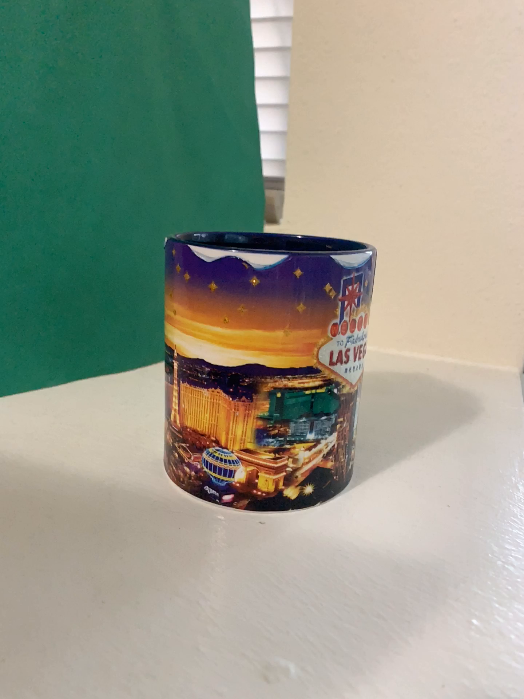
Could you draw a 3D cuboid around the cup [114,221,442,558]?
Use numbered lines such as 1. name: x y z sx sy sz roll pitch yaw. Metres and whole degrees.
1. cup: 0.011 0.000 0.235 0.080 0.100 0.120 14 19 33
